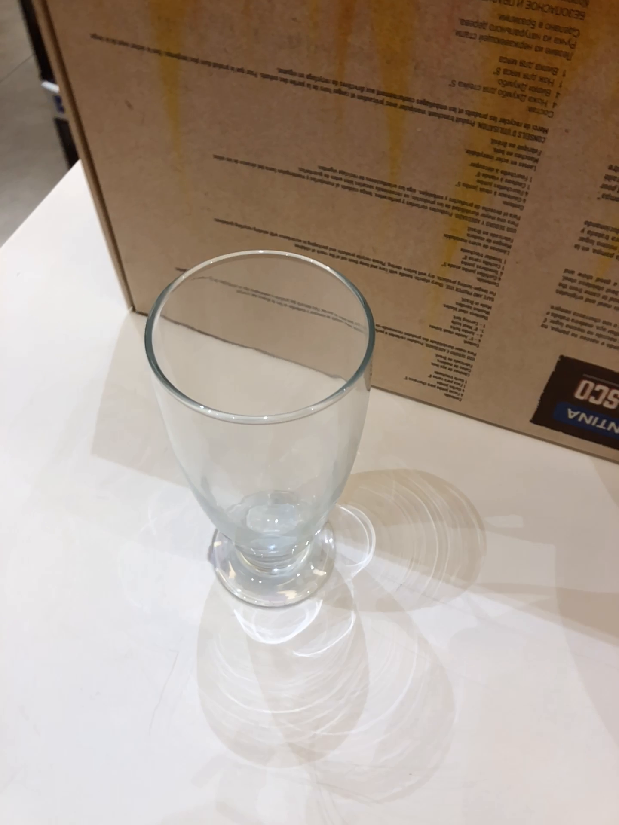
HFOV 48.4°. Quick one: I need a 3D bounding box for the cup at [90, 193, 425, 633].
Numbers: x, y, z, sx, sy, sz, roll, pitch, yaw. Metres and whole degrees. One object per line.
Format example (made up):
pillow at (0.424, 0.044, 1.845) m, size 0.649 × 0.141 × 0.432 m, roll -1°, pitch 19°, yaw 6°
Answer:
cup at (-0.016, 0.015, 0.310) m, size 0.090 × 0.189 × 0.080 m, roll 17°, pitch 55°, yaw 11°
